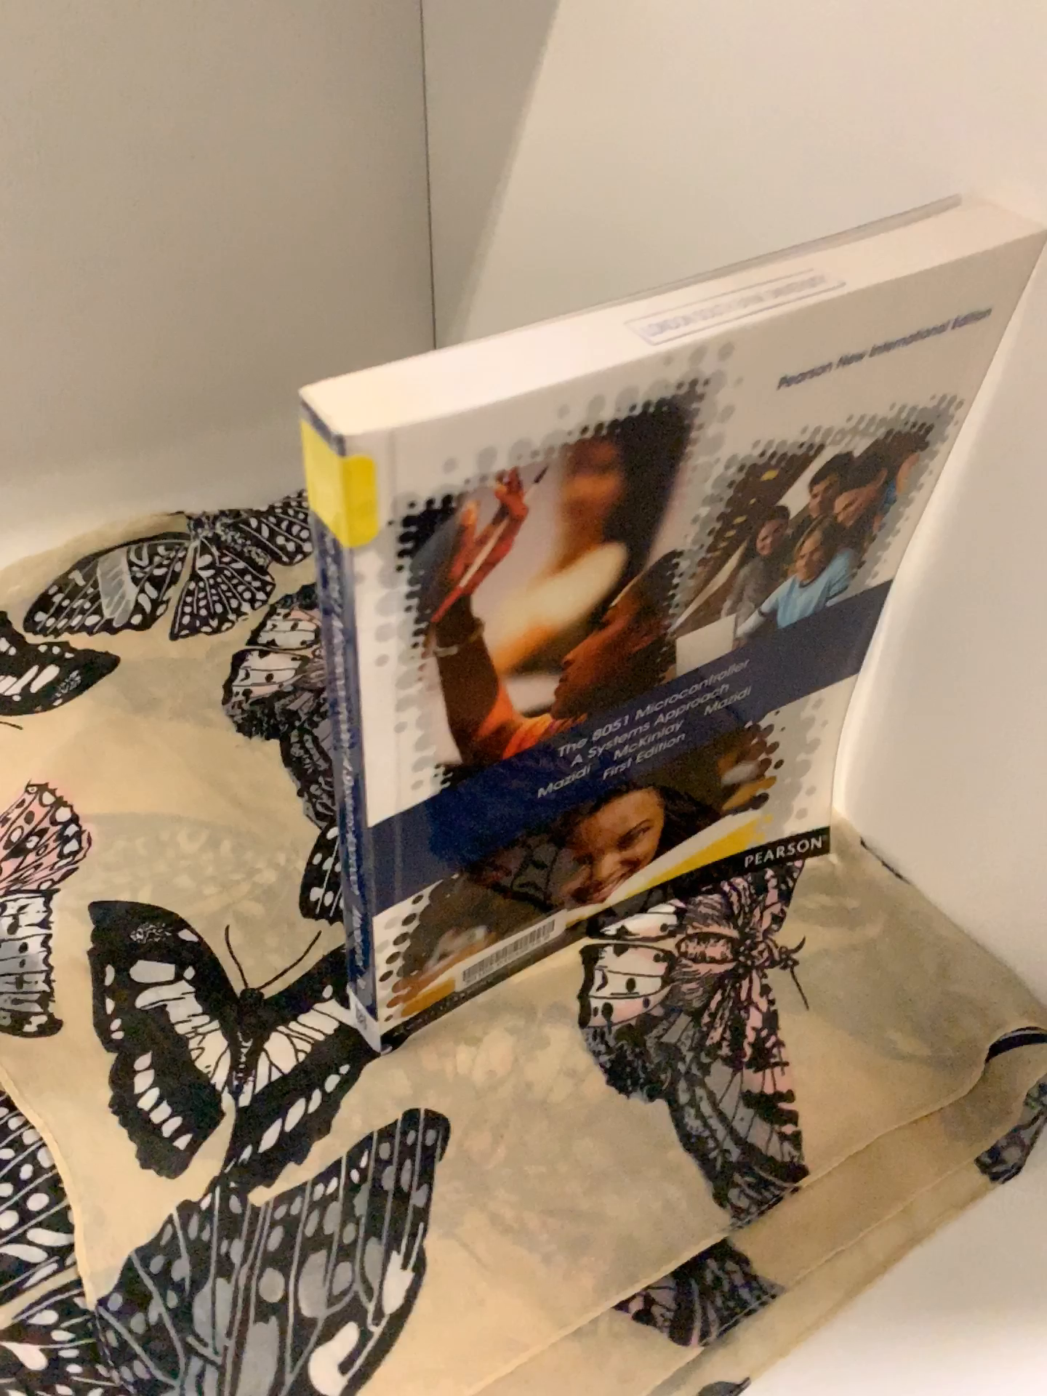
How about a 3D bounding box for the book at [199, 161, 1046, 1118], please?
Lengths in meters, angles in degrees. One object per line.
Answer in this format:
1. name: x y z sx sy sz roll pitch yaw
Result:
1. book: 0.036 -0.003 0.322 0.220 0.248 0.053 -25 55 -25
